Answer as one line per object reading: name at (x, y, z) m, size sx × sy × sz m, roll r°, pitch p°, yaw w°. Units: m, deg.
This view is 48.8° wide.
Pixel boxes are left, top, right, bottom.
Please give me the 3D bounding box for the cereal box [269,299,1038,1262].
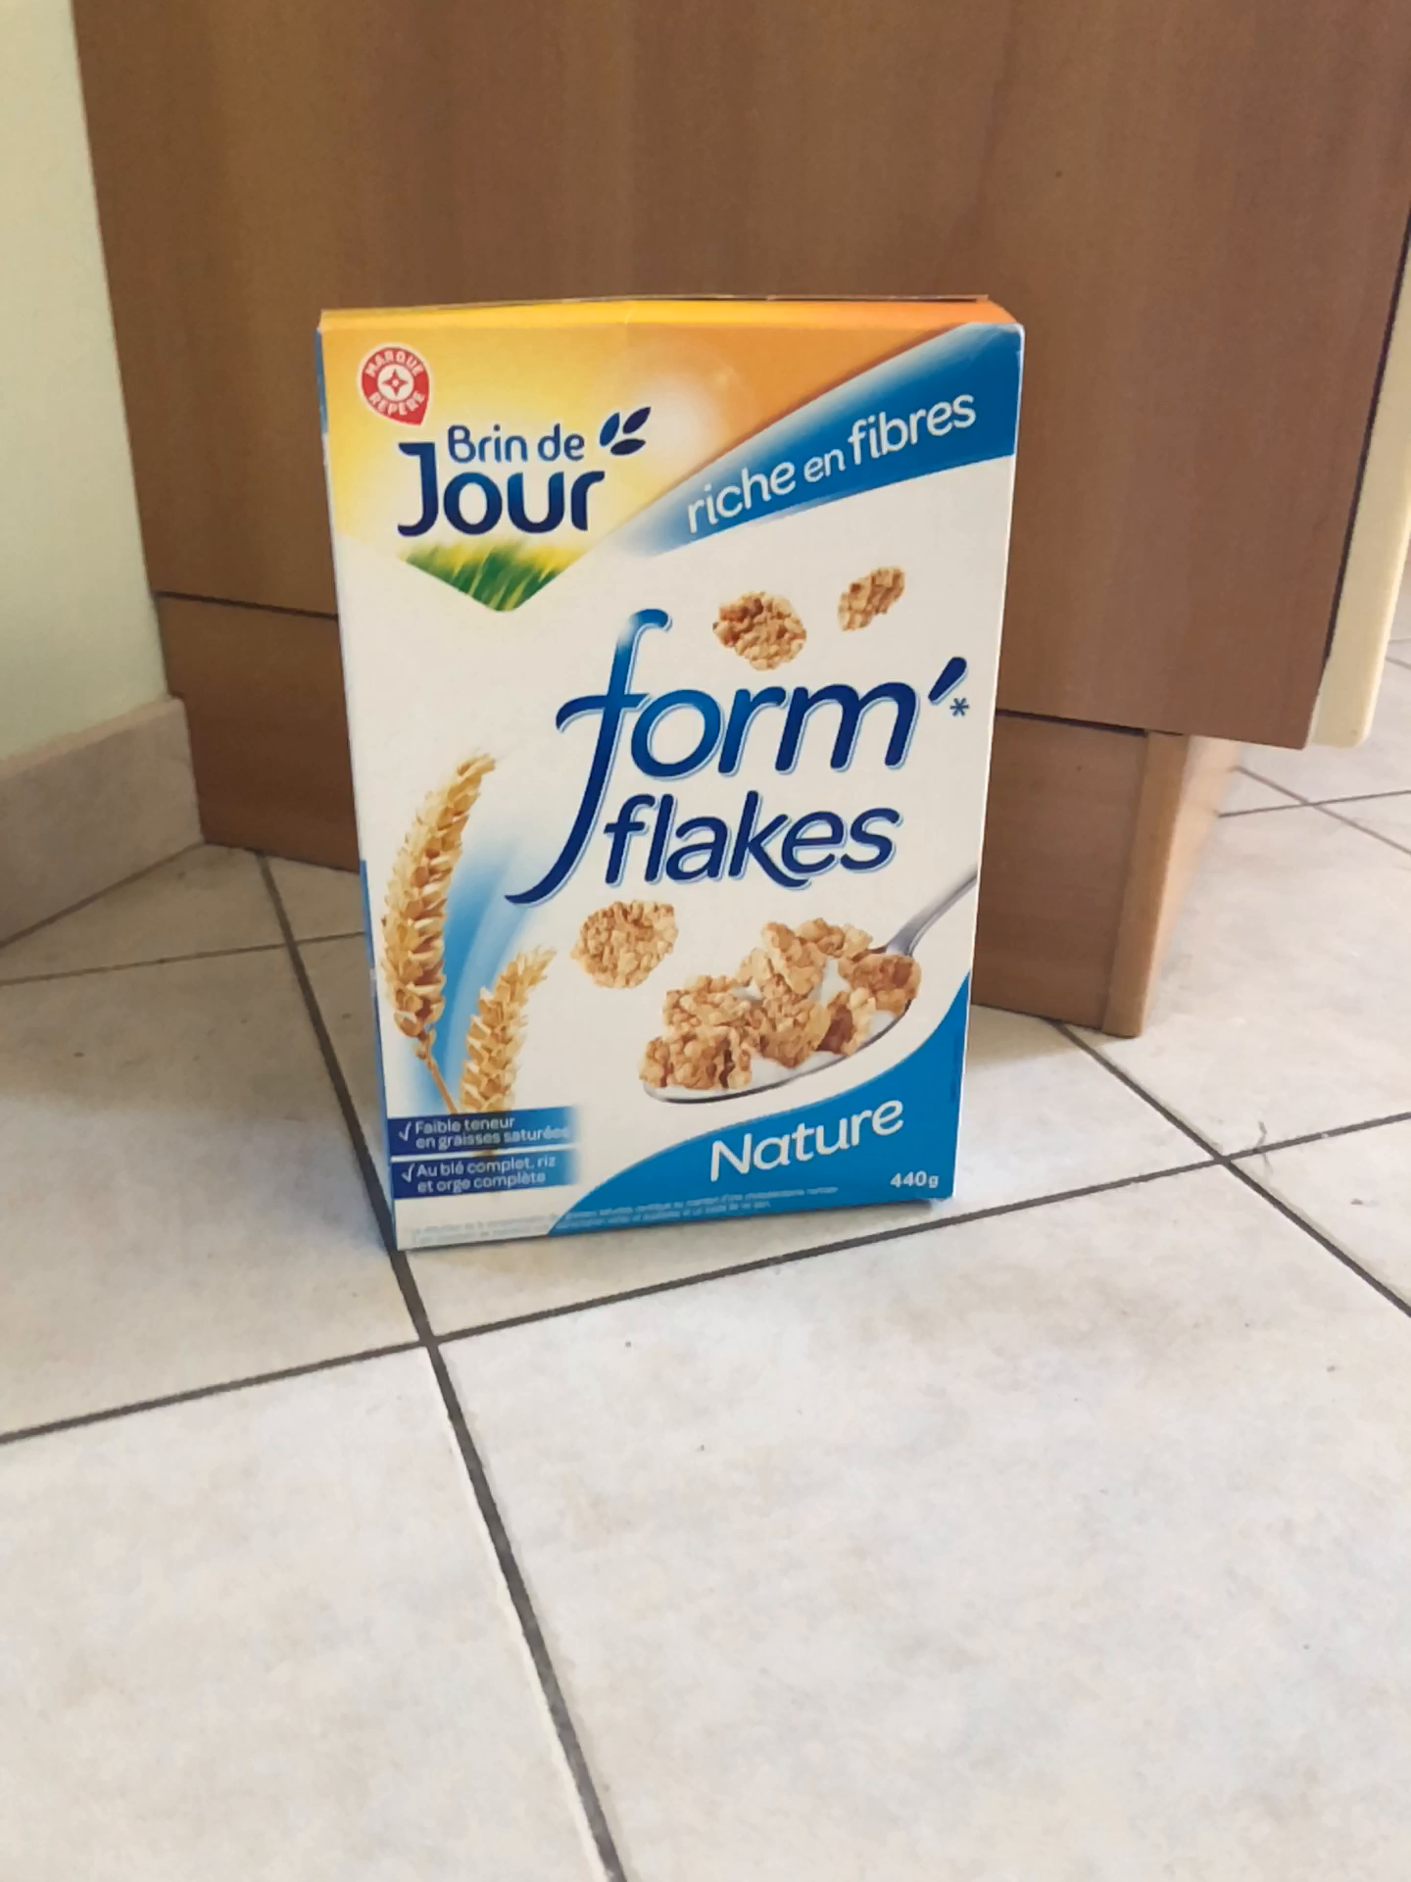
cereal box at (-0.018, -0.047, 0.485) m, size 0.200 × 0.279 × 0.070 m, roll -3°, pitch 23°, yaw -10°
